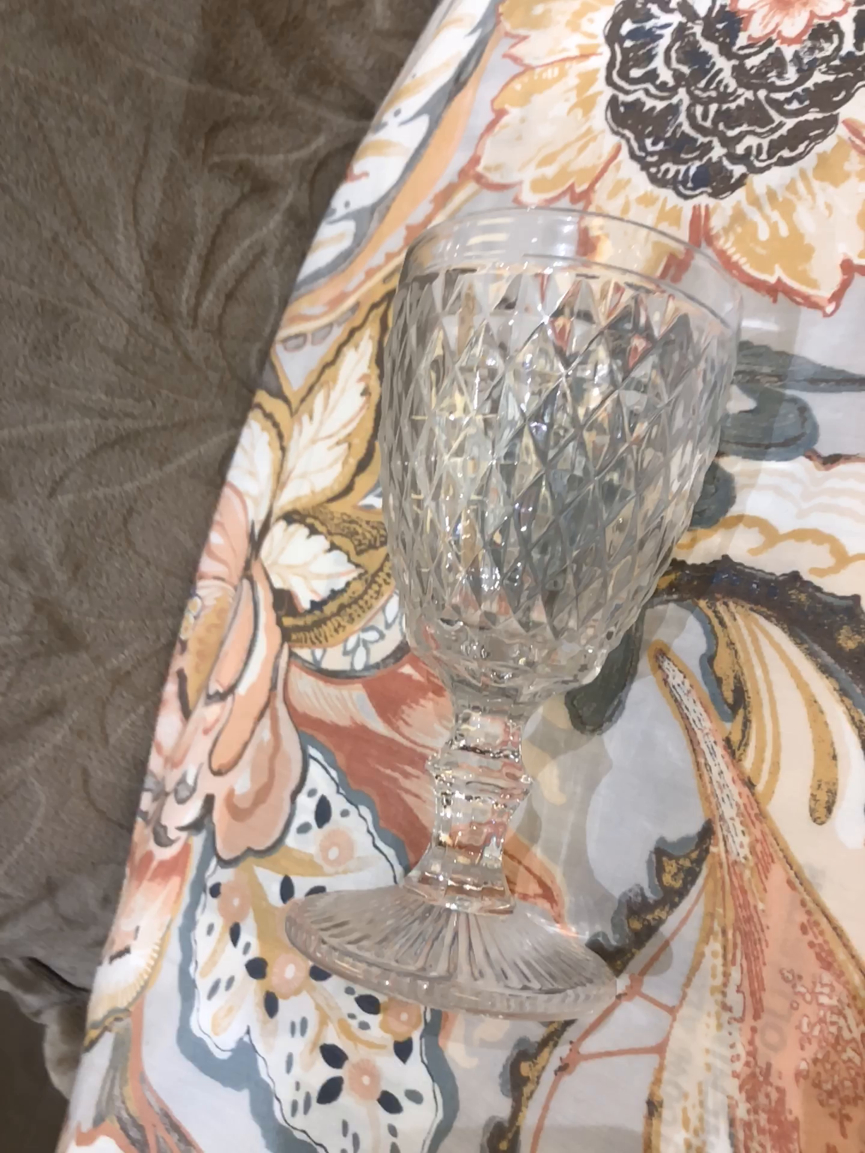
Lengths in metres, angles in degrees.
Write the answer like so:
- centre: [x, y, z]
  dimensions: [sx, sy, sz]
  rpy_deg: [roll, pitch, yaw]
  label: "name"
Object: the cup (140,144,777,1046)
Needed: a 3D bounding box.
- centre: [0.014, 0.002, 0.232]
  dimensions: [0.090, 0.080, 0.170]
  rpy_deg: [7, 78, 32]
  label: "cup"
